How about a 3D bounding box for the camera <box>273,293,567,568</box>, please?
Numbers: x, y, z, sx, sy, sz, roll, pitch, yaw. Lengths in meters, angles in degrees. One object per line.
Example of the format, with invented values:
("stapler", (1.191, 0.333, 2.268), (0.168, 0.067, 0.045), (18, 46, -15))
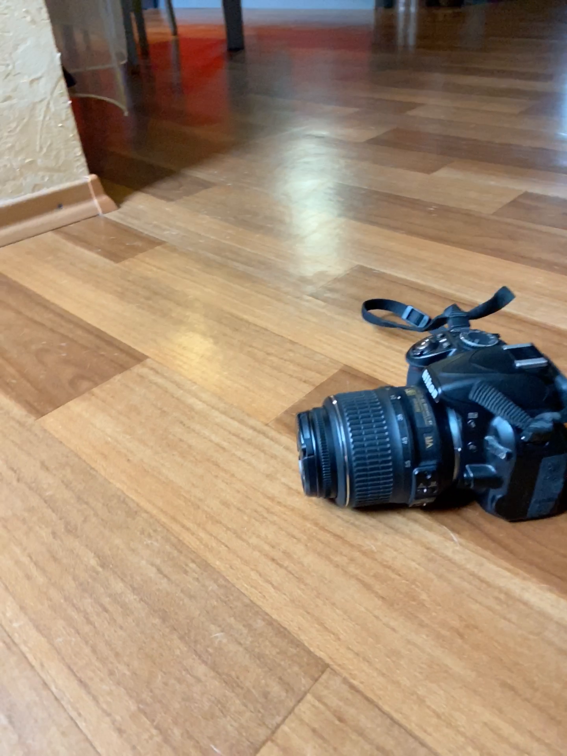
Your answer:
("camera", (0.082, 0.028, 0.375), (0.153, 0.100, 0.121), (-8, 36, -5))
